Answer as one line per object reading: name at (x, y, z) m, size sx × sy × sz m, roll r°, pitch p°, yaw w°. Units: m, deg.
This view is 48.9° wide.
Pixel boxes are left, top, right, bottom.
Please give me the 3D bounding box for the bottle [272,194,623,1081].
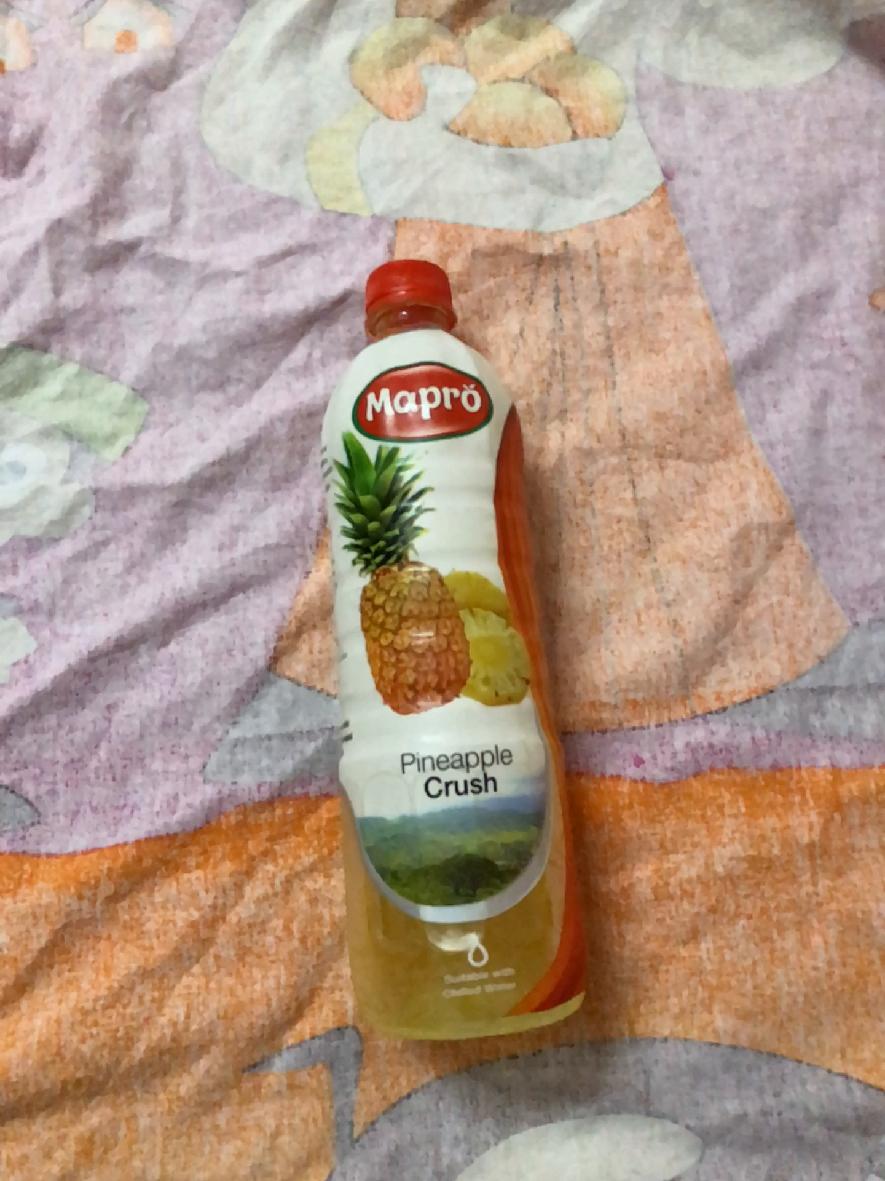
bottle at (-0.003, 0.008, 0.308) m, size 0.080 × 0.060 × 0.250 m, roll -4°, pitch 80°, yaw -4°
